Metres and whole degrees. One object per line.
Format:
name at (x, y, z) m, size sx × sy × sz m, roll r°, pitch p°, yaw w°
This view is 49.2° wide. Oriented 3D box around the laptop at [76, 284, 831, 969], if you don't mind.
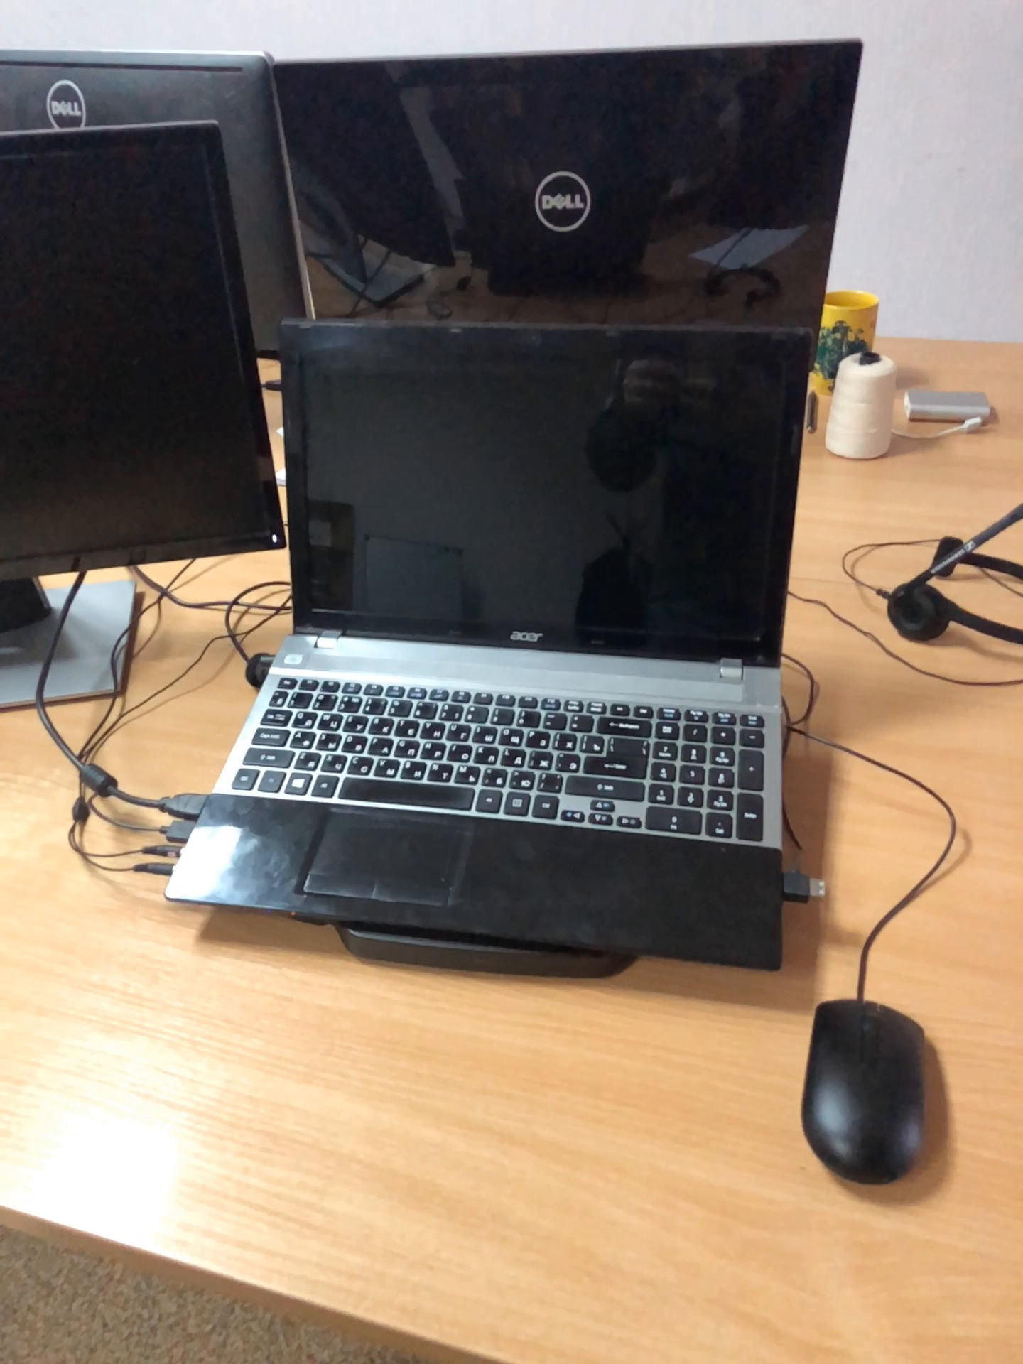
laptop at (-0.003, -0.065, 0.716) m, size 0.370 × 0.215 × 0.354 m, roll 4°, pitch 42°, yaw 10°
